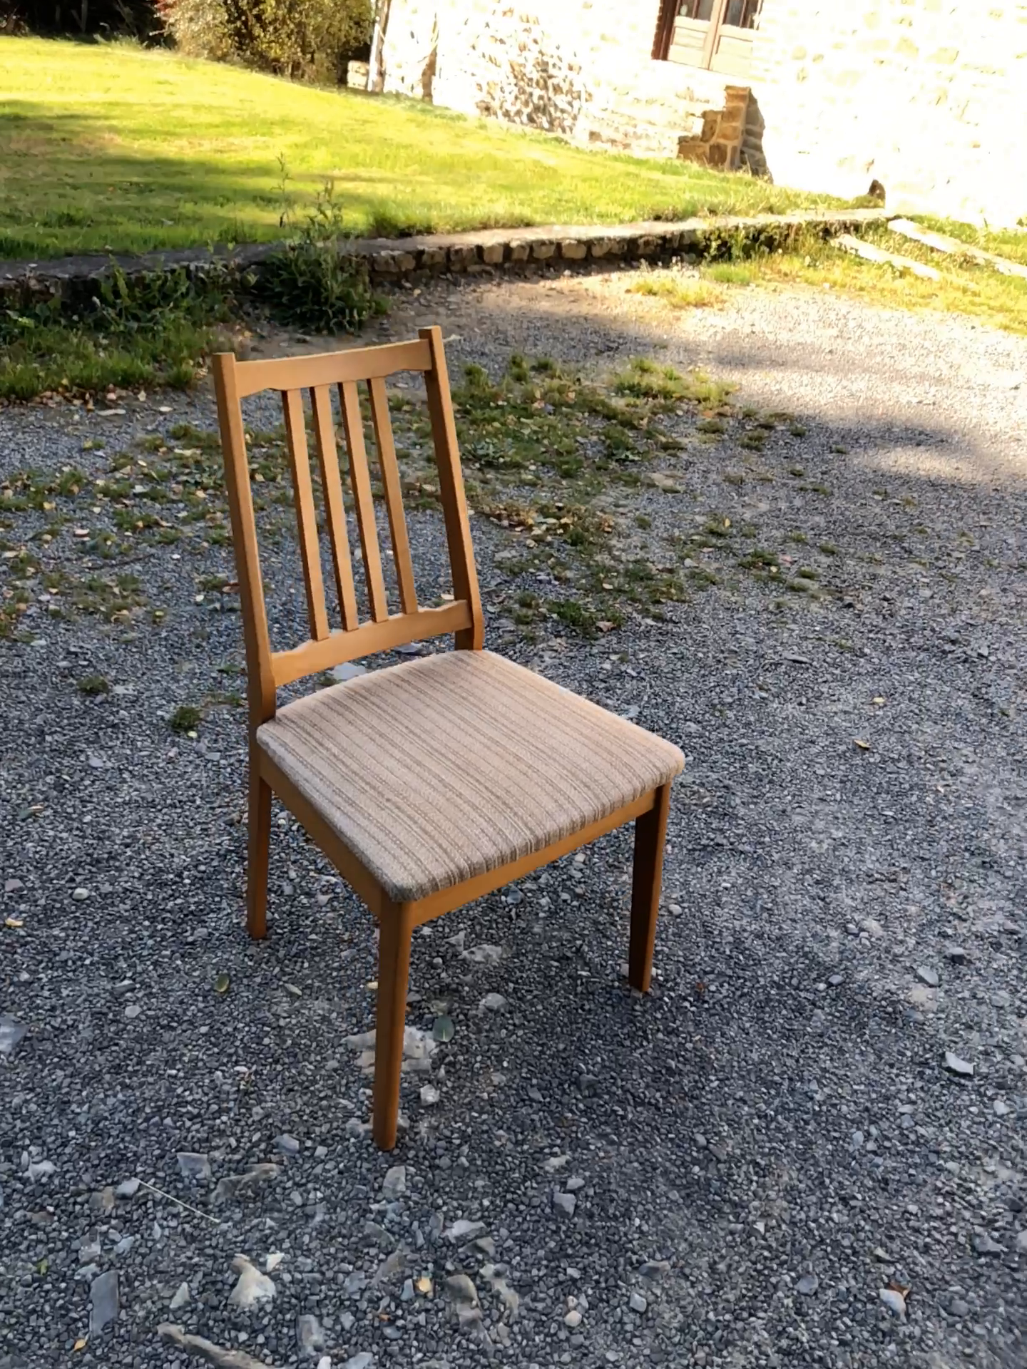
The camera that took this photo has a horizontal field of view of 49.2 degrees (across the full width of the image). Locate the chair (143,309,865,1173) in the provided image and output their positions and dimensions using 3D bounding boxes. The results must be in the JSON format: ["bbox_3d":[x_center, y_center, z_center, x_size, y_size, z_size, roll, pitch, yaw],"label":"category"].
[{"bbox_3d":[-0.065,0.024,1.513,0.603,0.844,0.591,-19,42,-37],"label":"chair"}]
